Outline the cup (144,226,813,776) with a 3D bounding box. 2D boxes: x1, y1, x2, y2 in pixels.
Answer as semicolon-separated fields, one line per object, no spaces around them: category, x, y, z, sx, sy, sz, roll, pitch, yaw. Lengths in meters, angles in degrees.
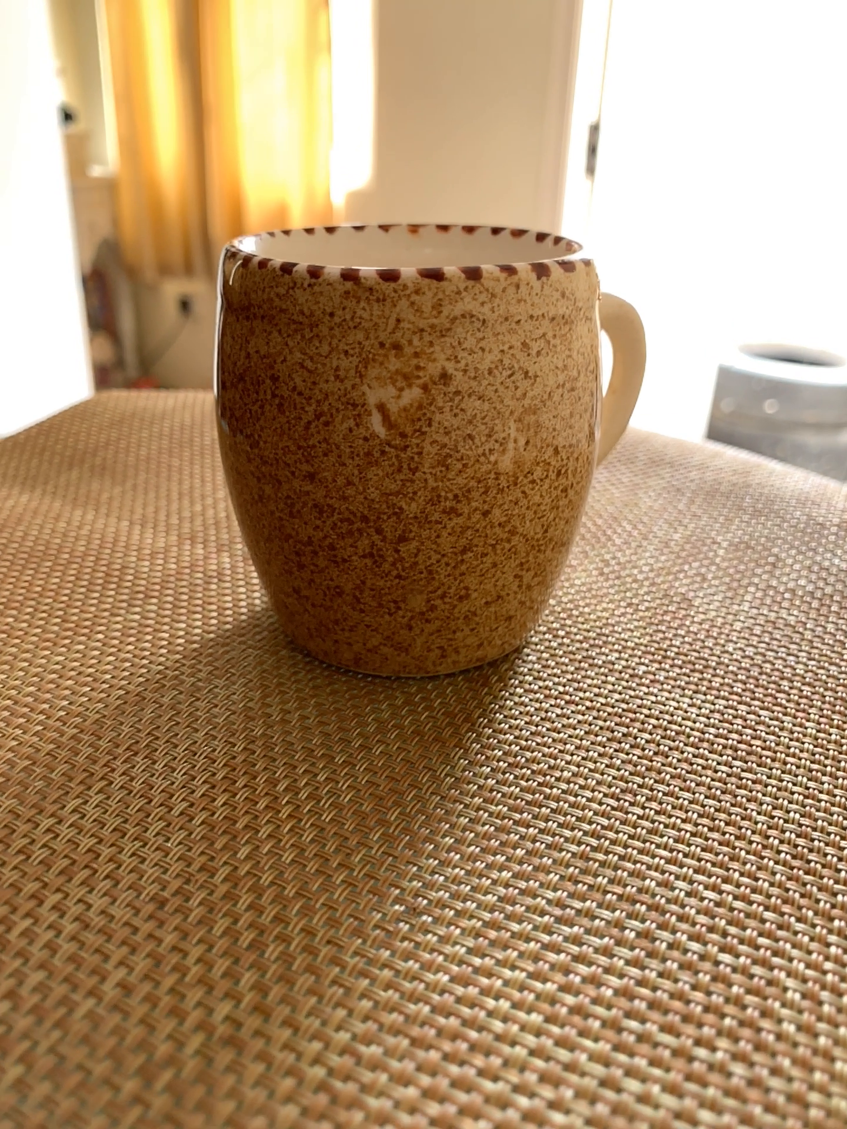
cup;0.005;-0.022;0.168;0.090;0.069;0.070;-11;28;-26
